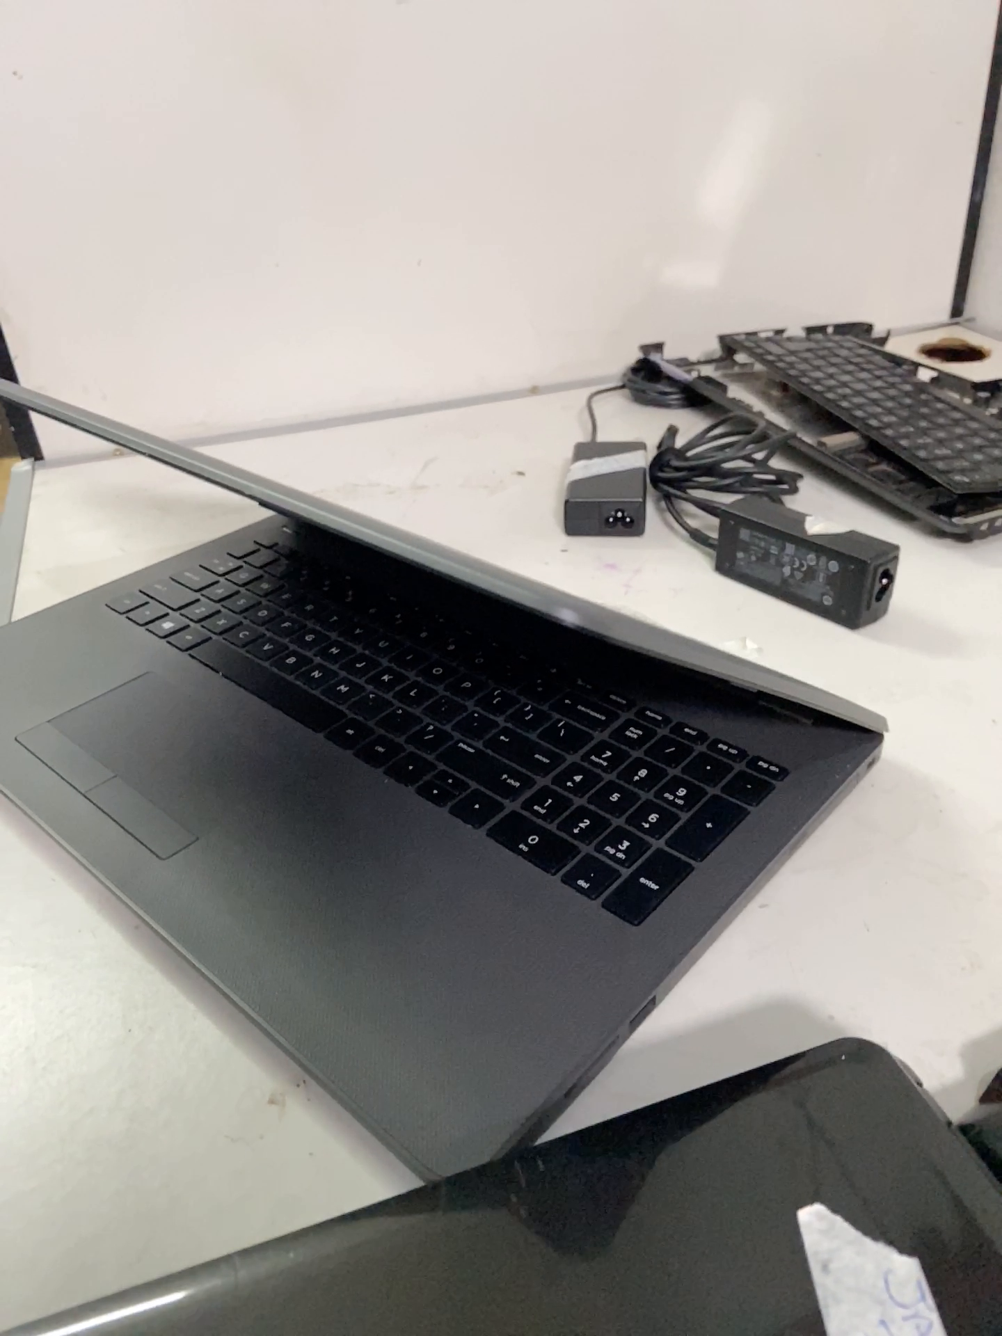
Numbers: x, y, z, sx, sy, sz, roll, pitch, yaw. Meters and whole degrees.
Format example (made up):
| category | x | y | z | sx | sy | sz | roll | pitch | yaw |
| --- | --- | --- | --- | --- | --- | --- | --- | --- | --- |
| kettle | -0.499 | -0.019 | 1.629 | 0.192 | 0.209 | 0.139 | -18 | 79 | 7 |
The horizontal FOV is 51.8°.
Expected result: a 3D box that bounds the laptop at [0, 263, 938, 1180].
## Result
| category | x | y | z | sx | sy | sz | roll | pitch | yaw |
| --- | --- | --- | --- | --- | --- | --- | --- | --- | --- |
| laptop | -0.072 | -0.045 | 0.419 | 0.380 | 0.141 | 0.248 | 25 | 43 | 36 |
